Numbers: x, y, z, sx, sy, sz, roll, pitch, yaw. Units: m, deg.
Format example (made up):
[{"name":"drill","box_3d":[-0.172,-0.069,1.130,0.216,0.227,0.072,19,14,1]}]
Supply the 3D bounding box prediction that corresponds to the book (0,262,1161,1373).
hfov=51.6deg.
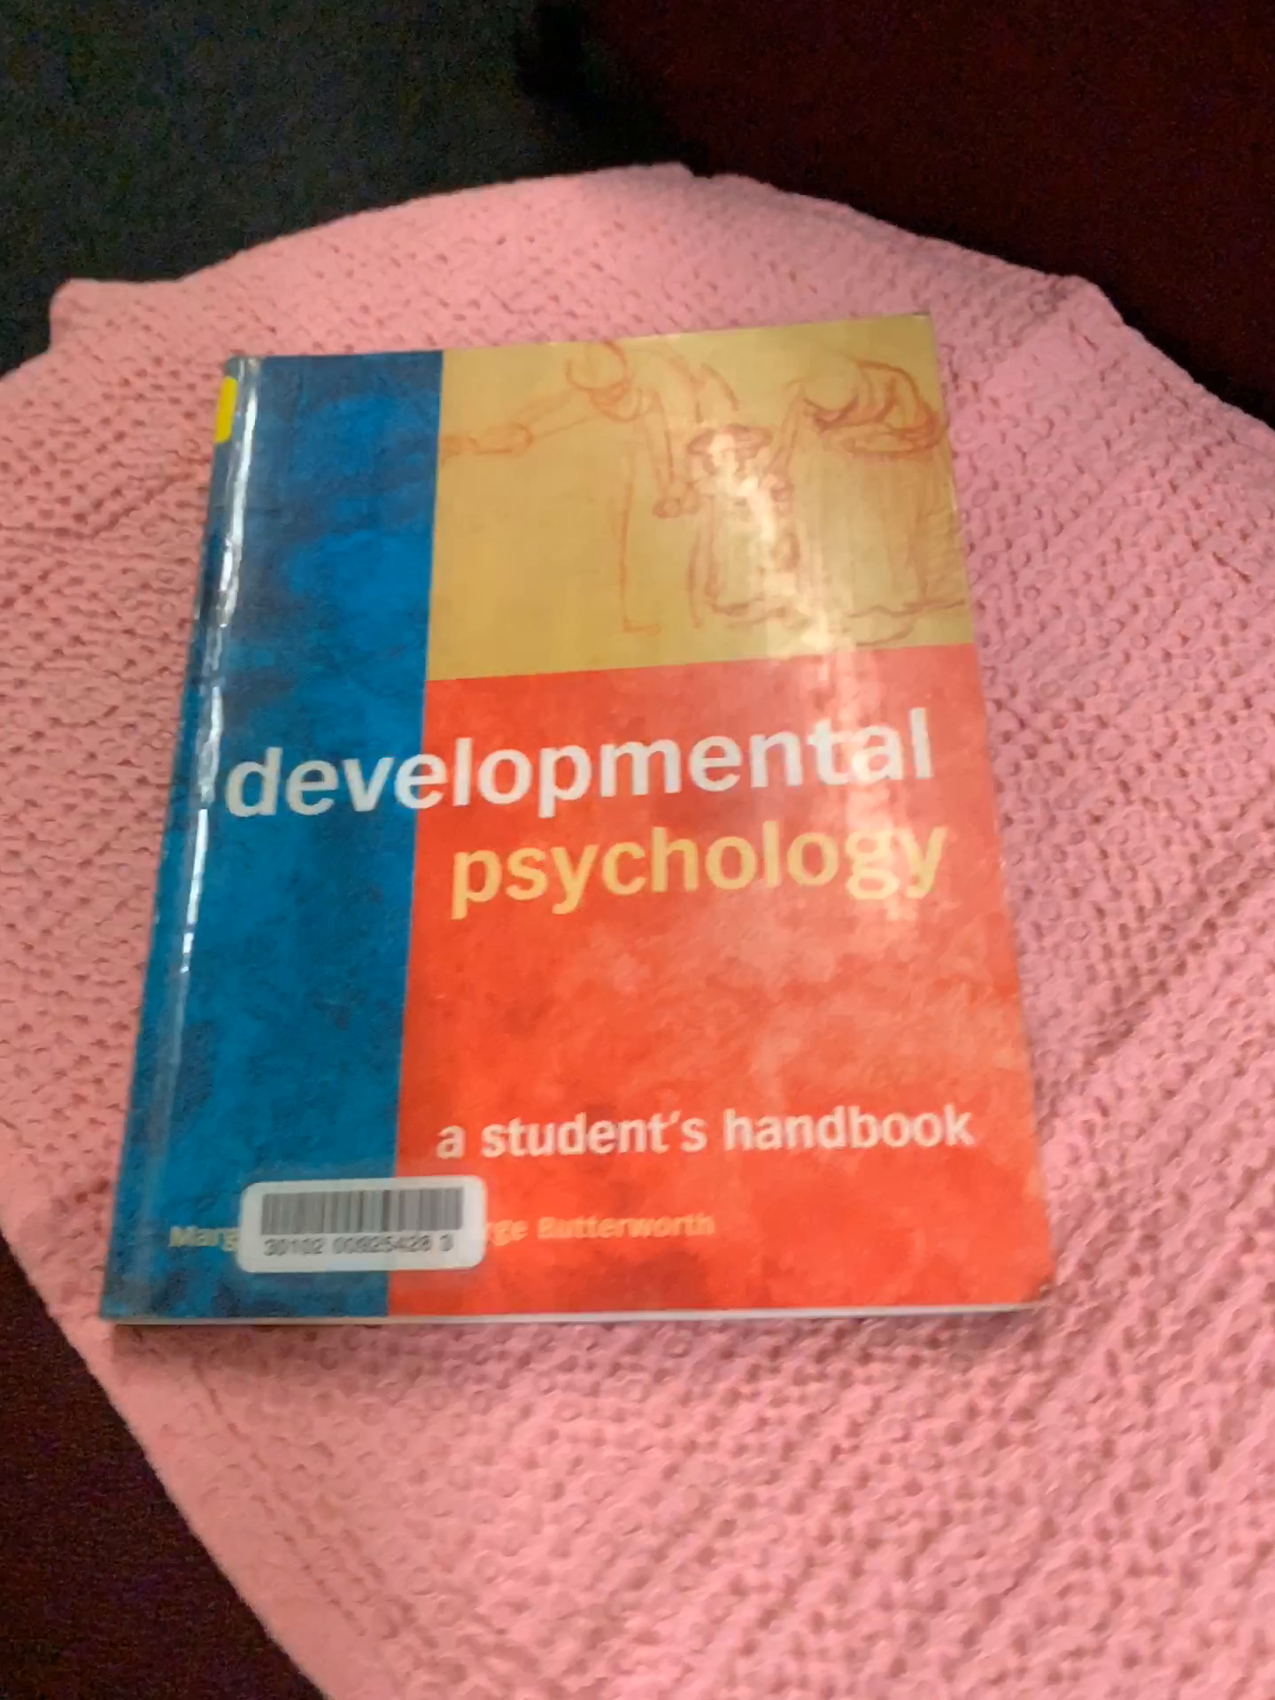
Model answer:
[{"name":"book","box_3d":[-0.015,-0.021,0.309,0.210,0.040,0.261,-2,65,2]}]
